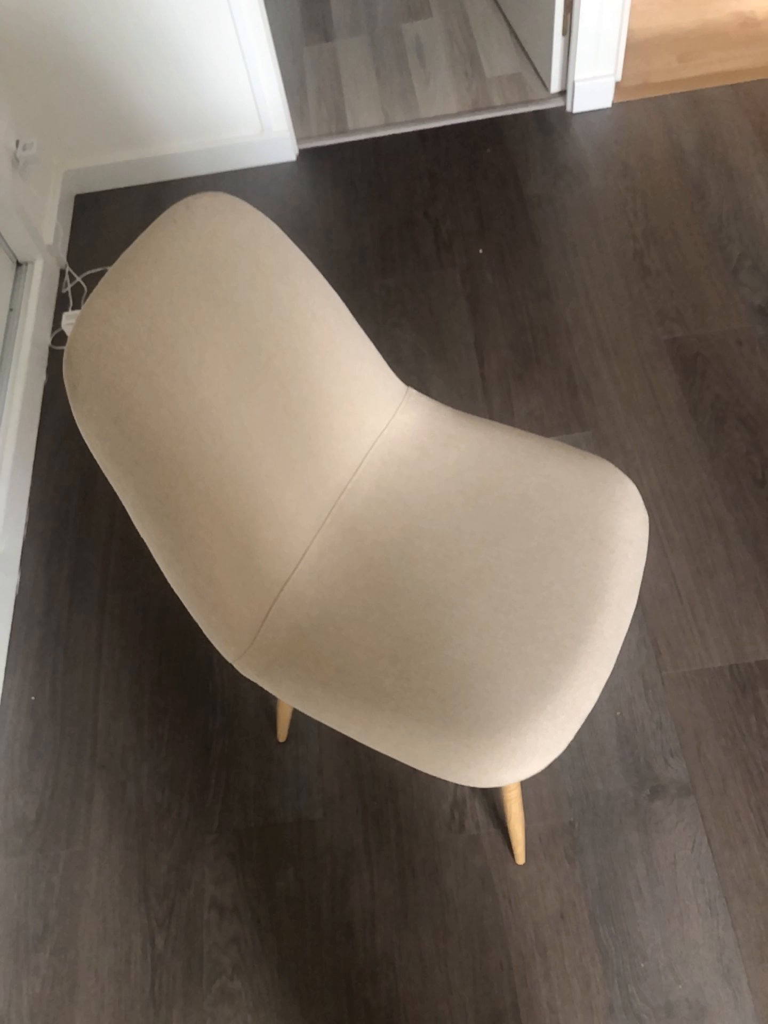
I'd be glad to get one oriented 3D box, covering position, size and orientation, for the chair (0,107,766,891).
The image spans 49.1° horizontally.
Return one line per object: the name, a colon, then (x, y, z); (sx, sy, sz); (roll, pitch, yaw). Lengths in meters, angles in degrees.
chair: (0.034, 0.071, 1.027); (0.500, 0.847, 0.431); (22, 64, 20)
